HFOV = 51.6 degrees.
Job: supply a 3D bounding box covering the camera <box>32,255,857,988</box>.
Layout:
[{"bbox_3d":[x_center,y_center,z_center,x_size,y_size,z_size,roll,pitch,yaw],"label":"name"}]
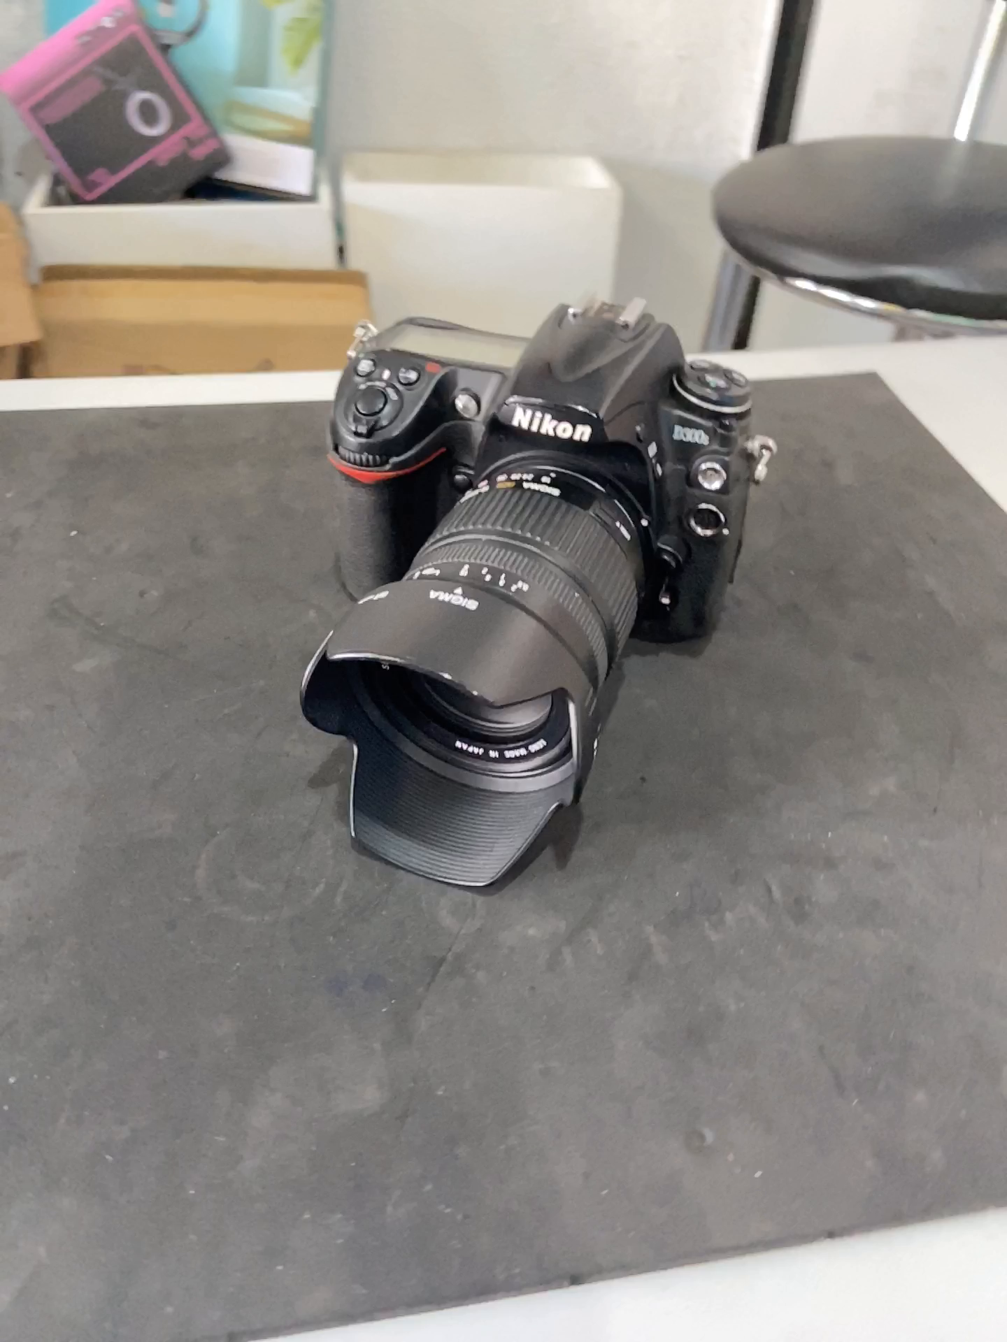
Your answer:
[{"bbox_3d":[-0.001,-0.034,0.326,0.170,0.109,0.181,16,42,16],"label":"camera"}]
